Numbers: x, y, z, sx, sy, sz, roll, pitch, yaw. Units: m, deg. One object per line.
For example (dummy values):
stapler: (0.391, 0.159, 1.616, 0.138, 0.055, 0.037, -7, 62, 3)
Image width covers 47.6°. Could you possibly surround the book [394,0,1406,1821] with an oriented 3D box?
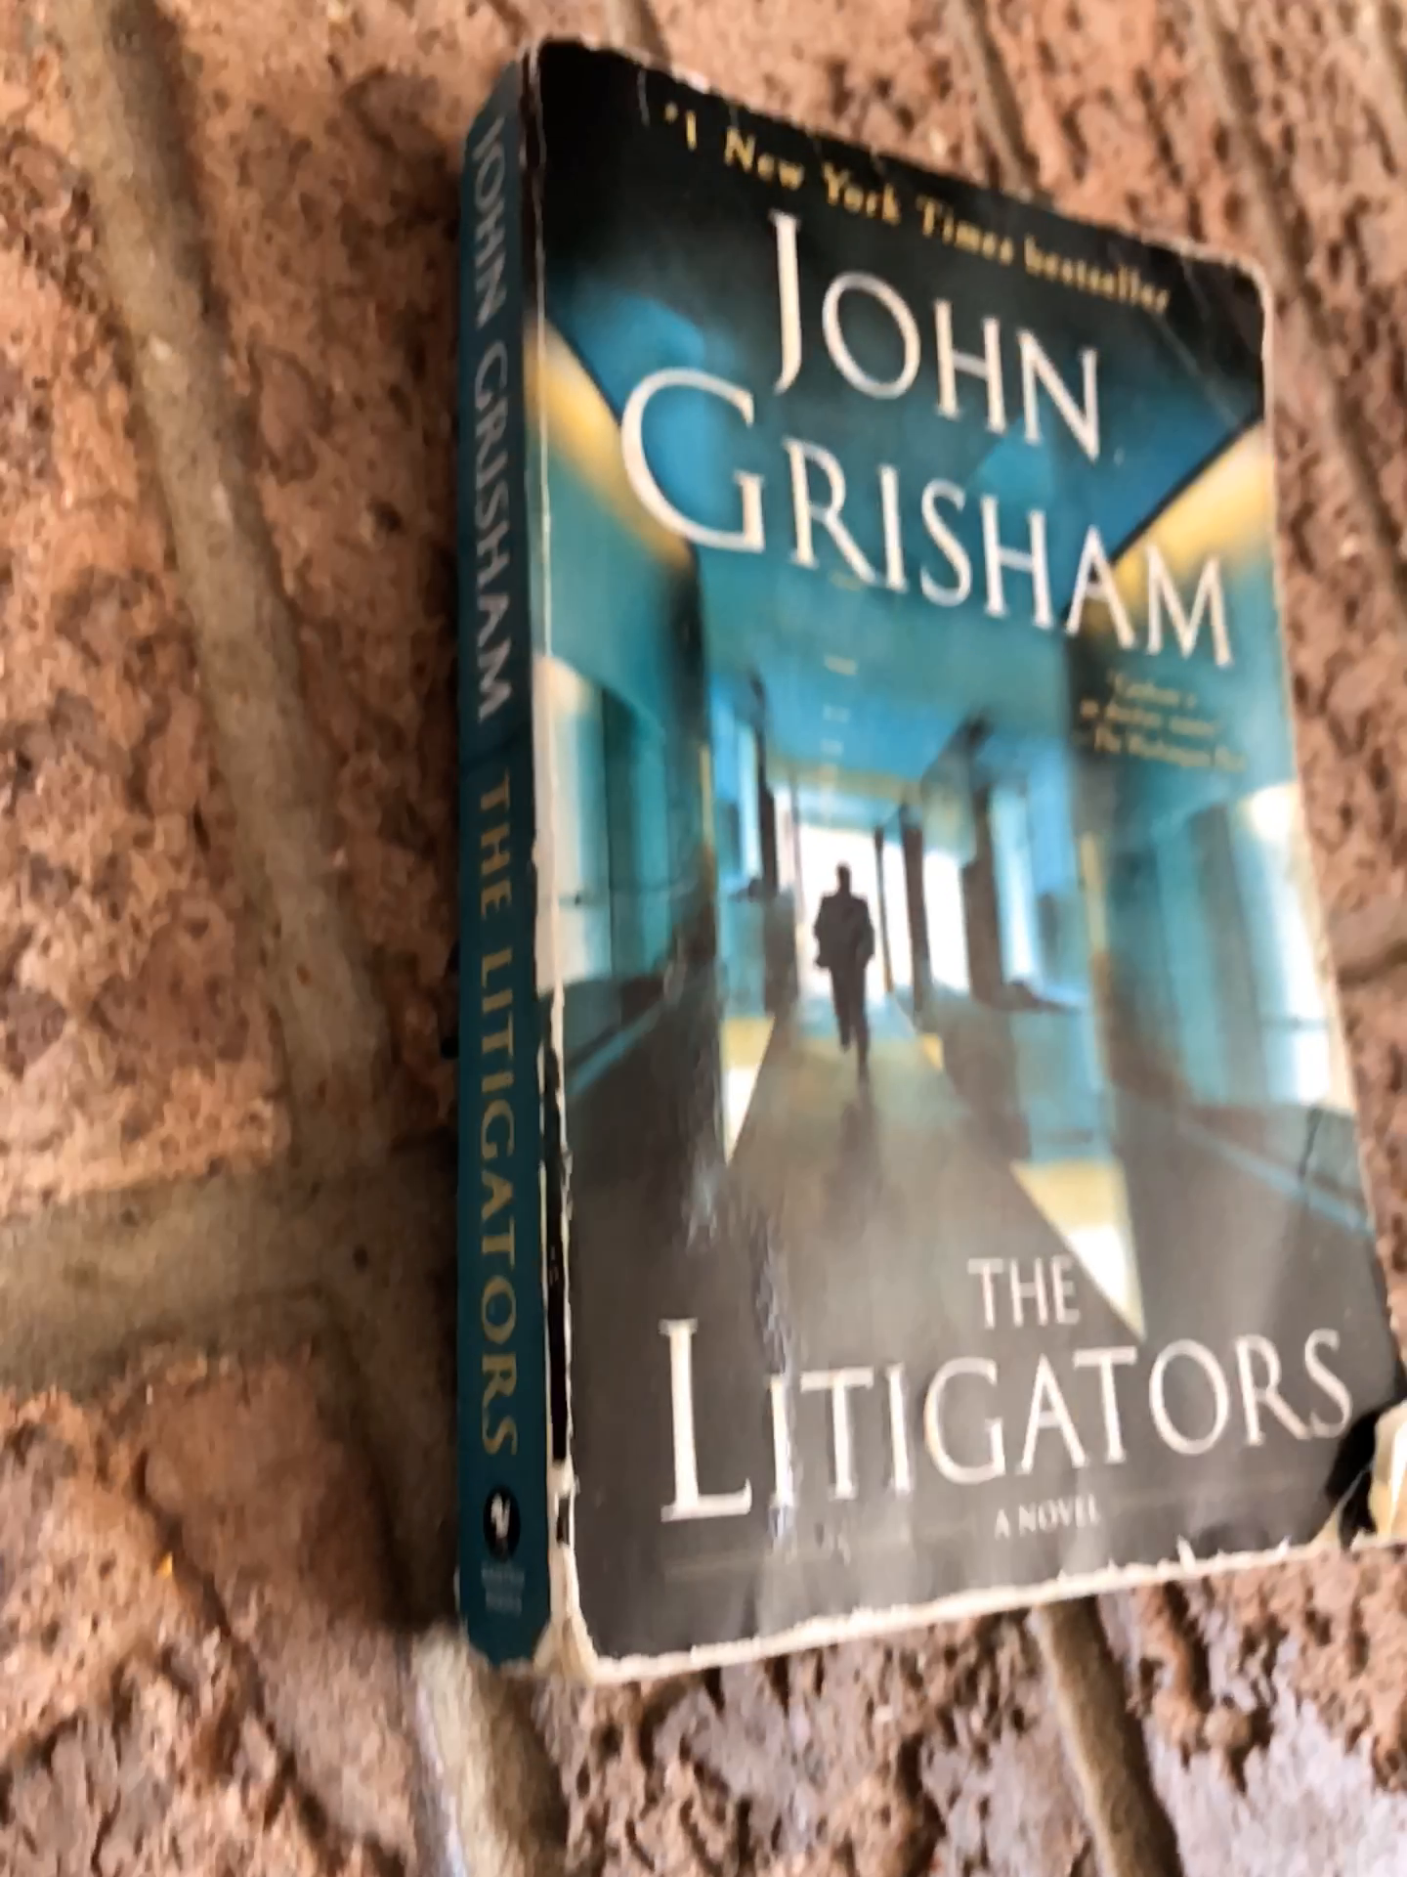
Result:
book: (0.031, -0.008, 0.214, 0.135, 0.033, 0.199, 6, 74, -29)
